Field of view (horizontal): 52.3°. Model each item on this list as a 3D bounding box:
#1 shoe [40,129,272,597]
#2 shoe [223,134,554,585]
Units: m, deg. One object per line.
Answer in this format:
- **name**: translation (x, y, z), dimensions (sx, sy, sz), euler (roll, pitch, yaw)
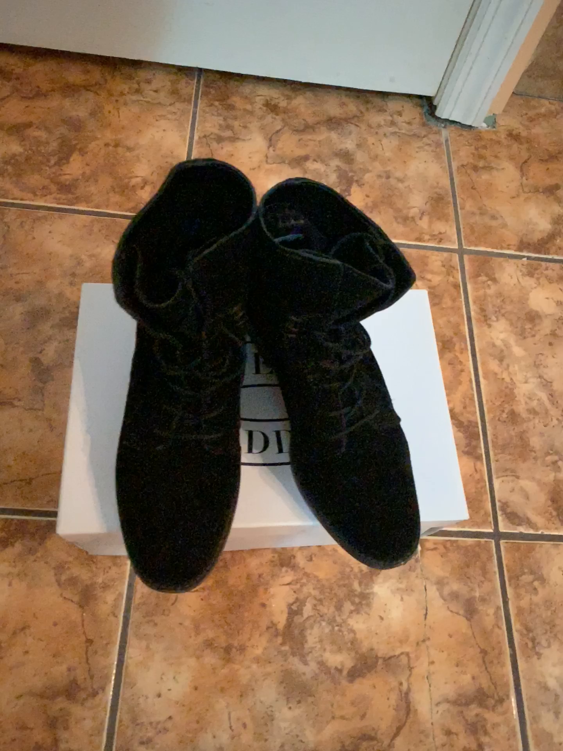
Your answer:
- **shoe**: translation (-0.063, -0.002, 0.372), dimensions (0.094, 0.152, 0.258), euler (4, 63, -6)
- **shoe**: translation (0.046, -0.013, 0.404), dimensions (0.107, 0.142, 0.268), euler (-12, 66, -14)
